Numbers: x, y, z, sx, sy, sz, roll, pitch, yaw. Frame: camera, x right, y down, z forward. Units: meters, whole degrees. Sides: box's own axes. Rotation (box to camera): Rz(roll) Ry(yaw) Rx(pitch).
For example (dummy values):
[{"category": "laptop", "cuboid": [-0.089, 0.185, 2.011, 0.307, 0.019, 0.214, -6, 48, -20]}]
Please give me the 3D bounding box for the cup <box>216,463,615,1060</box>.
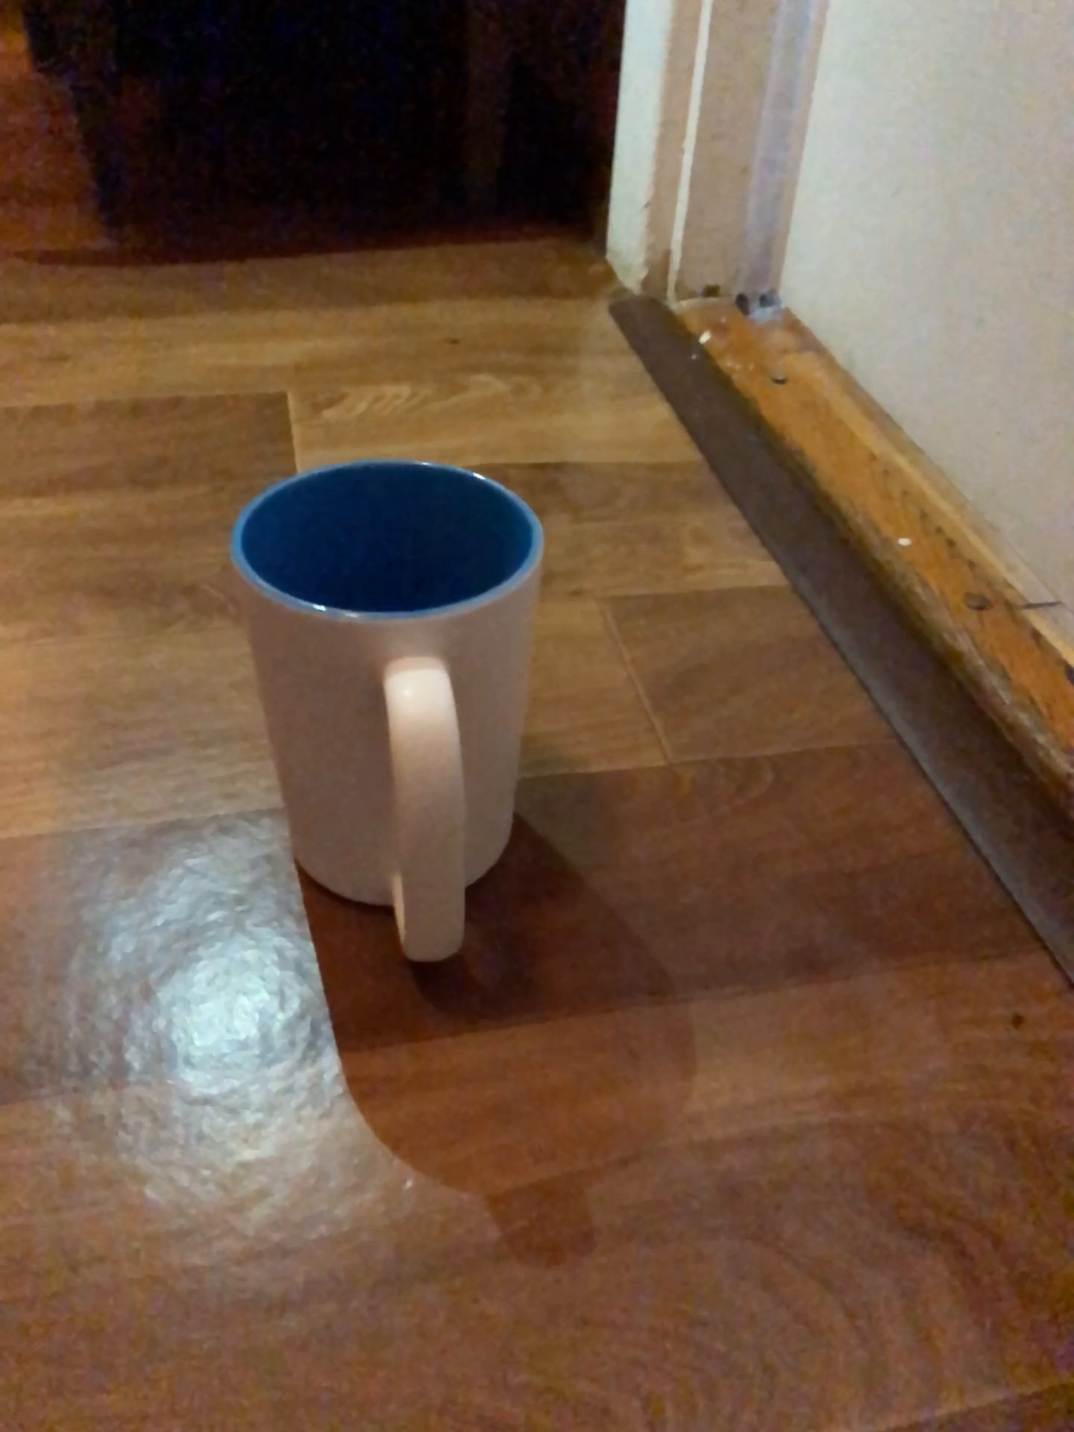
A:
[{"category": "cup", "cuboid": [-0.037, 0.008, 0.348, 0.088, 0.112, 0.130, -3, 40, -7]}]
